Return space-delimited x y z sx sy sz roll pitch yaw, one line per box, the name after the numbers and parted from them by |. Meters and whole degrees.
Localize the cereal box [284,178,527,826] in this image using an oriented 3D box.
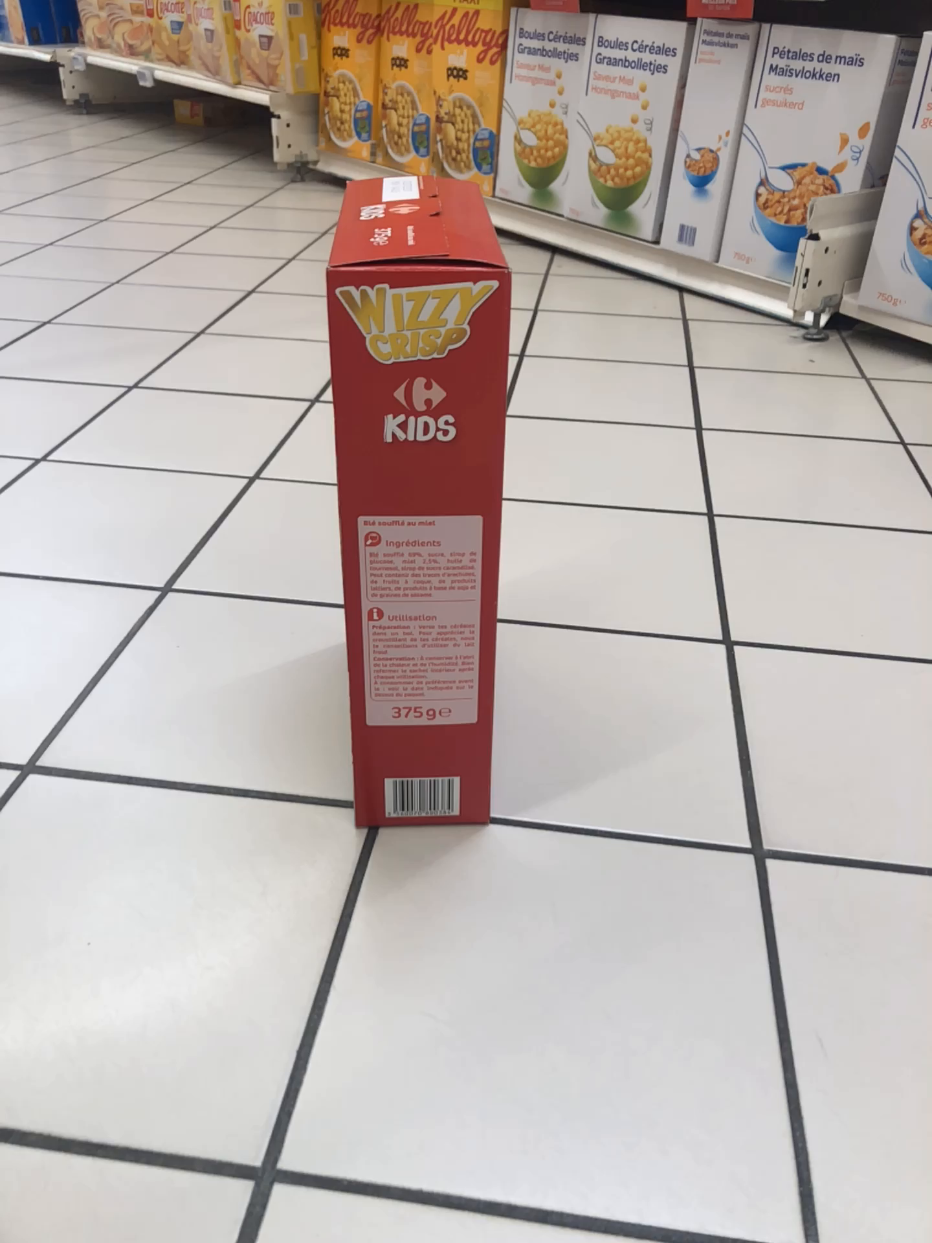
-0.031 -0.066 0.533 0.090 0.278 0.191 -1 31 -3 | cereal box
